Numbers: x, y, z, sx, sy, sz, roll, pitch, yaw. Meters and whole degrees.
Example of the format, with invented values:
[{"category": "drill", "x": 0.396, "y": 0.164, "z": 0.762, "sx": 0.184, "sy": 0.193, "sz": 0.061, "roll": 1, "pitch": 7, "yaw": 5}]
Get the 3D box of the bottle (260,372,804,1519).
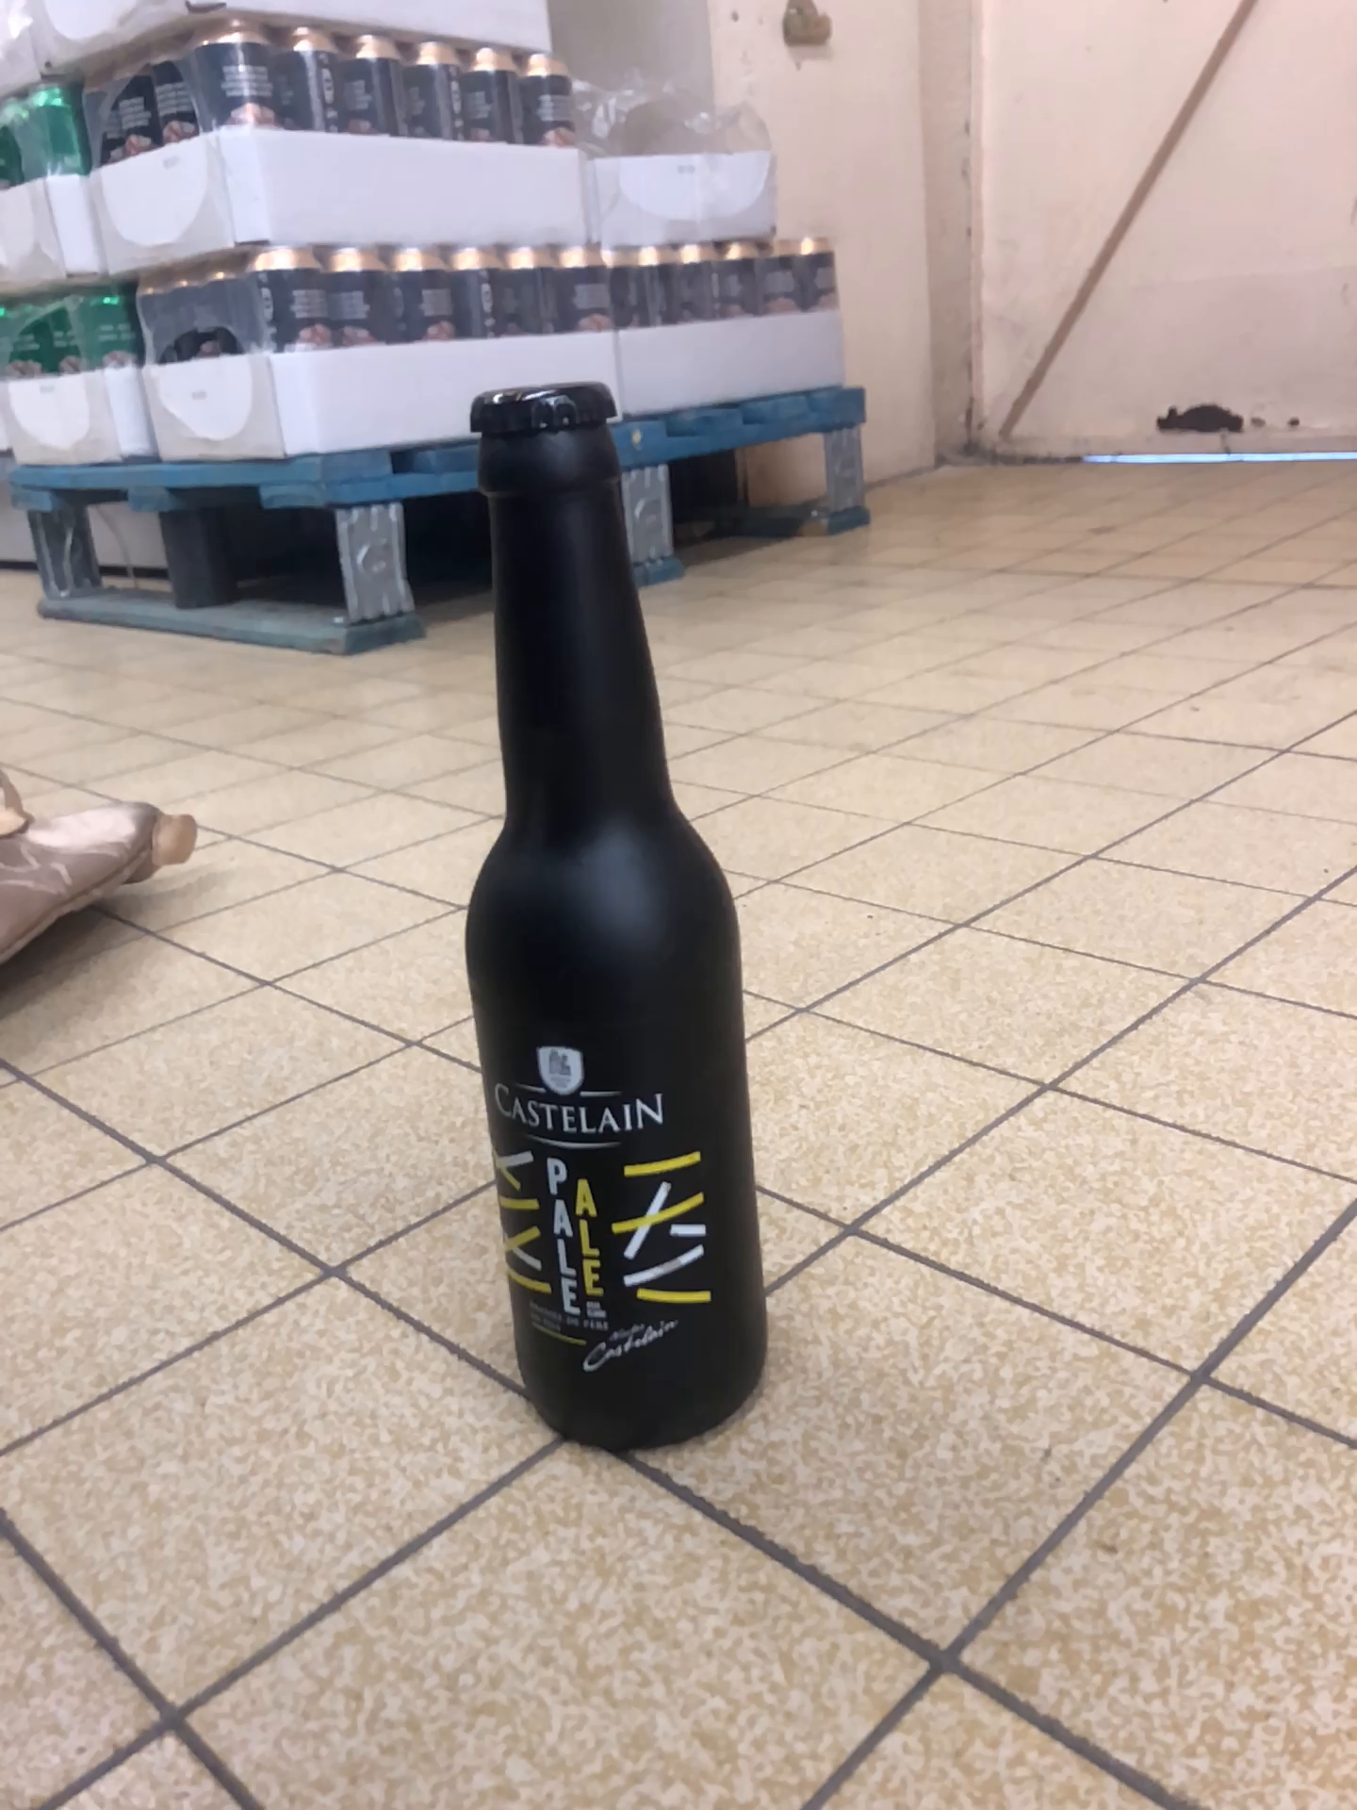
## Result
[{"category": "bottle", "x": -0.019, "y": 0.009, "z": 0.308, "sx": 0.070, "sy": 0.219, "sz": 0.070, "roll": -4, "pitch": 19, "yaw": 1}]
